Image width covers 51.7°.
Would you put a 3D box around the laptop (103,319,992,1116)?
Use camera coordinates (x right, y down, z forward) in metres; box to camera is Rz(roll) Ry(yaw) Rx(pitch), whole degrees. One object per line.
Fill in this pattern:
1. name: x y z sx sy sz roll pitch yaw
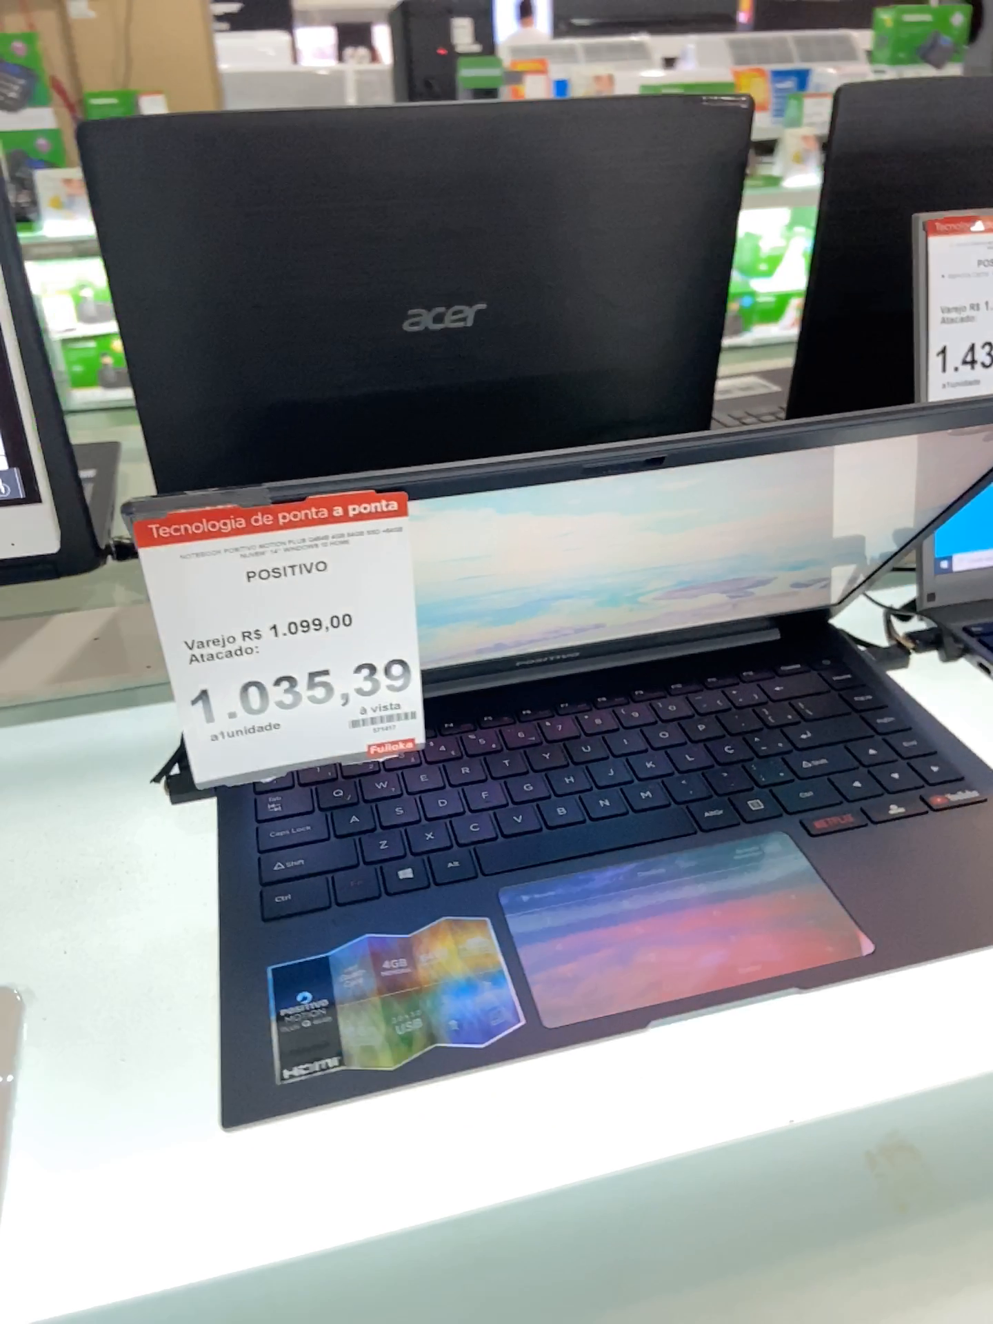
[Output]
1. laptop: 0.047 -0.011 0.403 0.334 0.163 0.223 -9 32 -11
